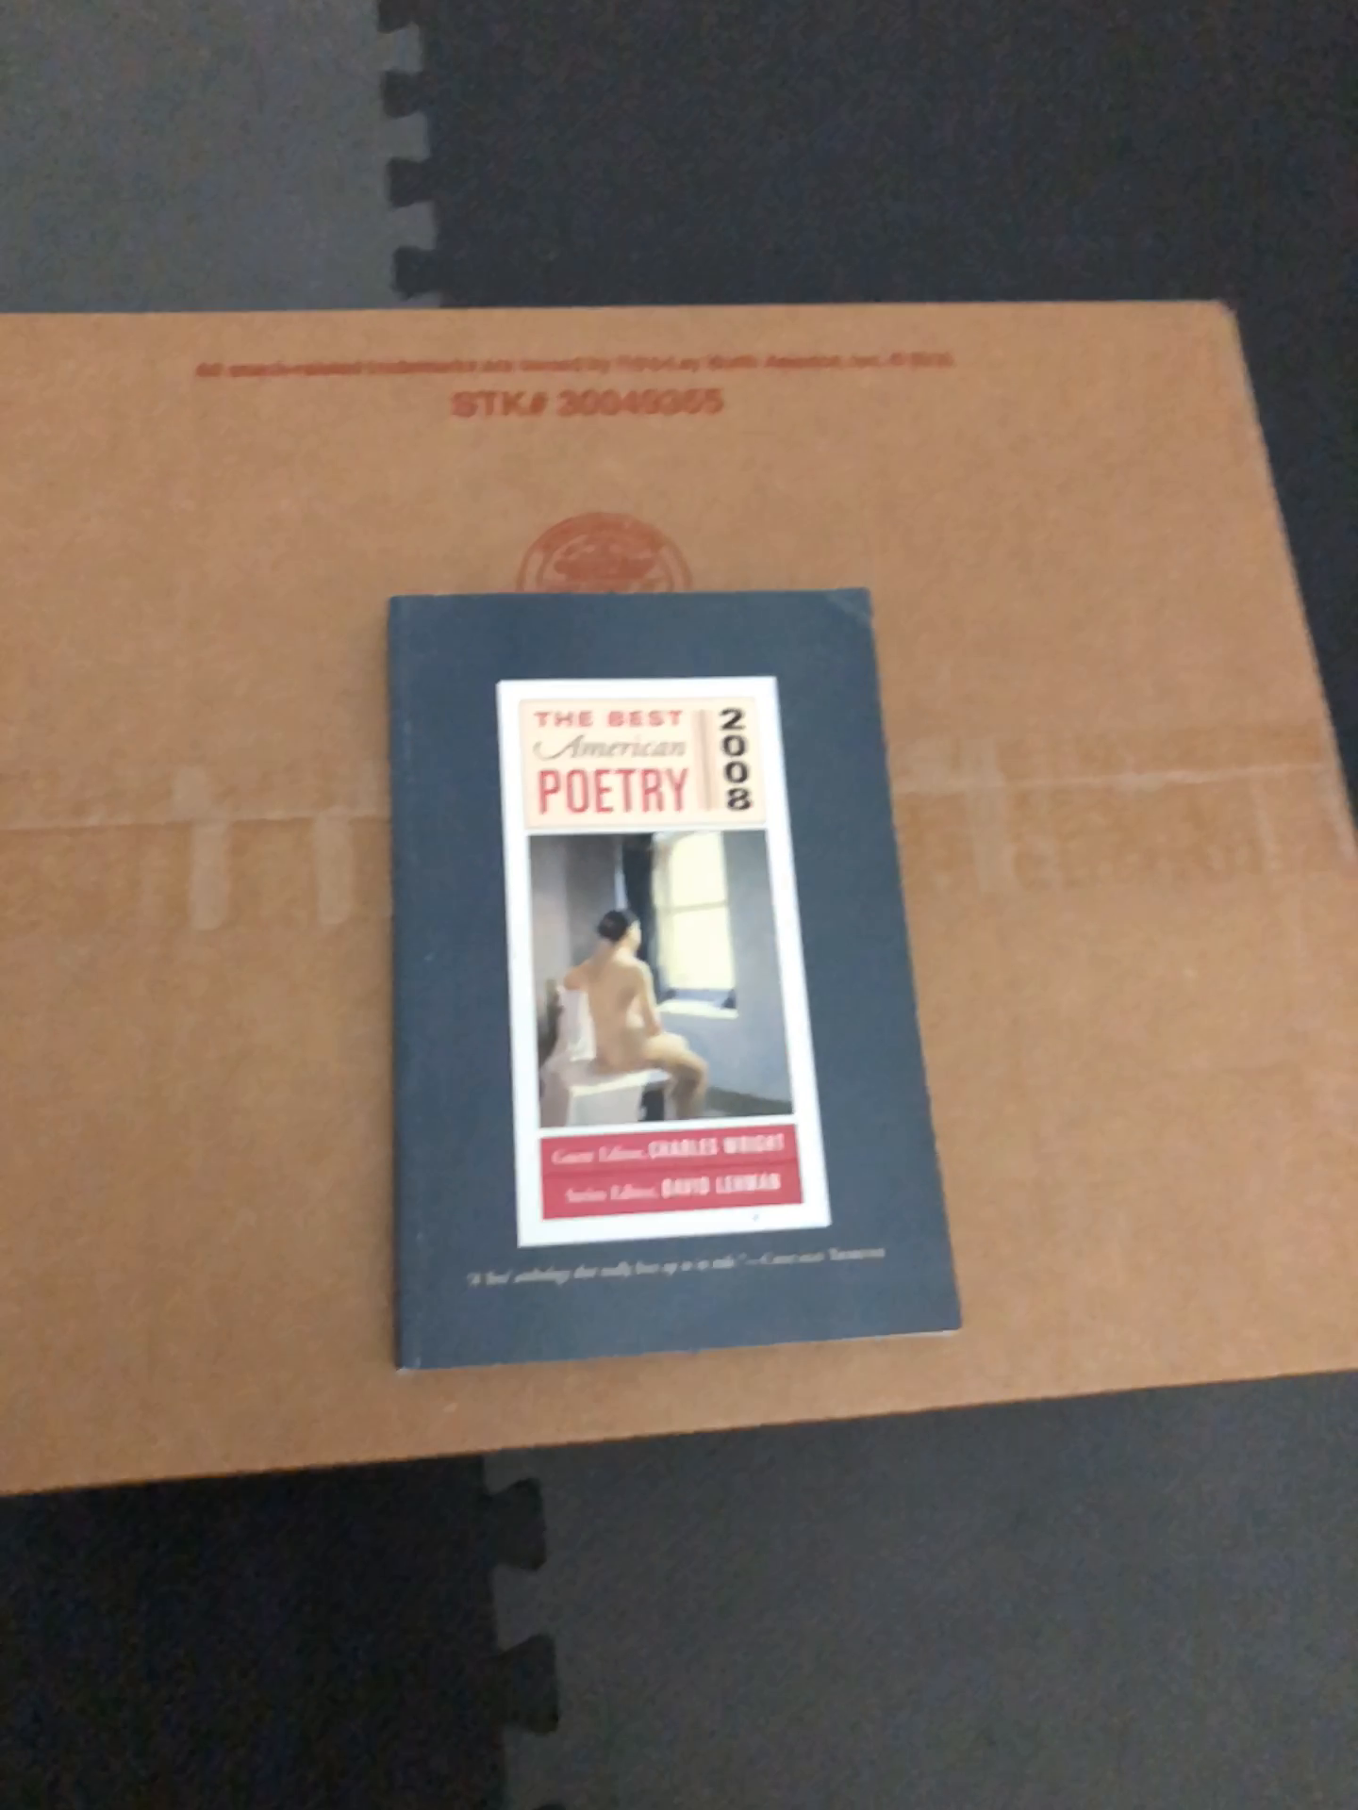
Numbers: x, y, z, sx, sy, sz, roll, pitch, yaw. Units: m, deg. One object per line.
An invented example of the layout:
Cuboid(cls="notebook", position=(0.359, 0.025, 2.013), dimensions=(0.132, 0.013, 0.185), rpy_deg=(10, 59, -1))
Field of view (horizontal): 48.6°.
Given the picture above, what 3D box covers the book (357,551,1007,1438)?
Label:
Cuboid(cls="book", position=(-0.006, 0.014, 0.405), dimensions=(0.150, 0.020, 0.230), rpy_deg=(-4, 72, -6))
